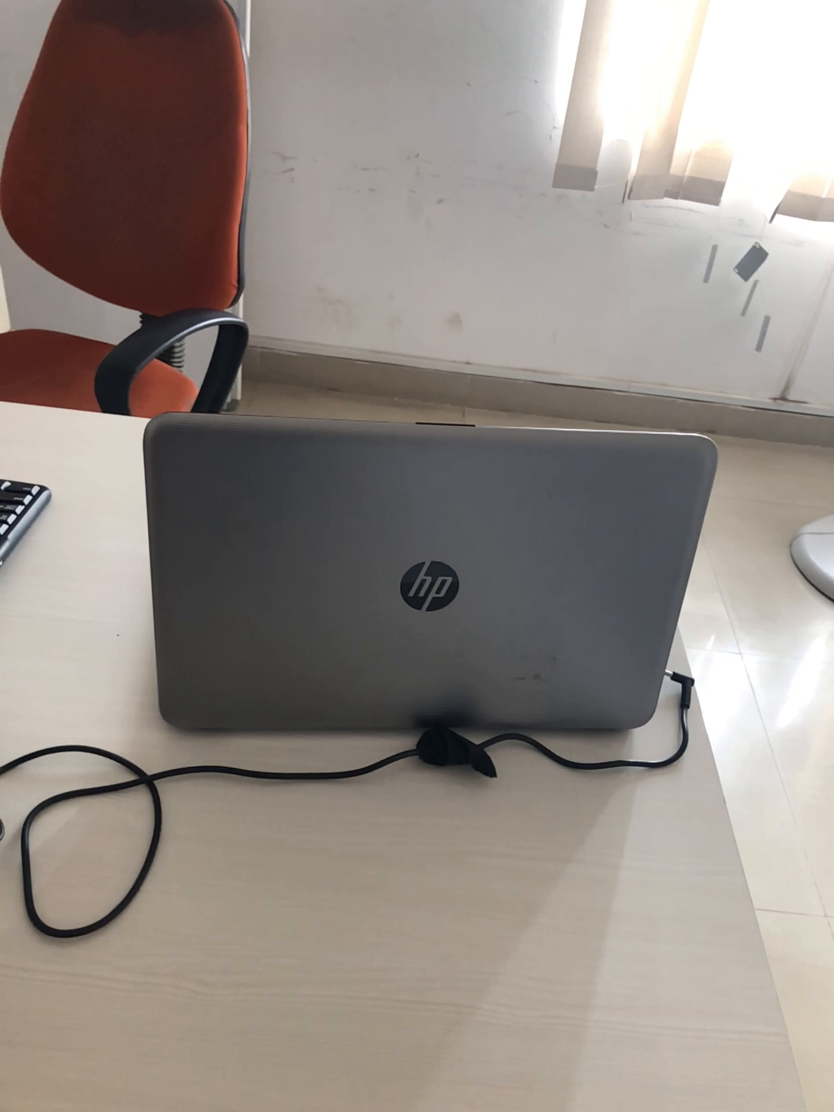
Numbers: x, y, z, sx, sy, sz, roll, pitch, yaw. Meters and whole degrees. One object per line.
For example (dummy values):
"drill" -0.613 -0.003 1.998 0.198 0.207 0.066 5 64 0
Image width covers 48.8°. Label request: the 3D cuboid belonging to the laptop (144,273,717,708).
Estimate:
"laptop" -0.005 -0.049 0.706 0.350 0.226 0.217 1 41 -6
